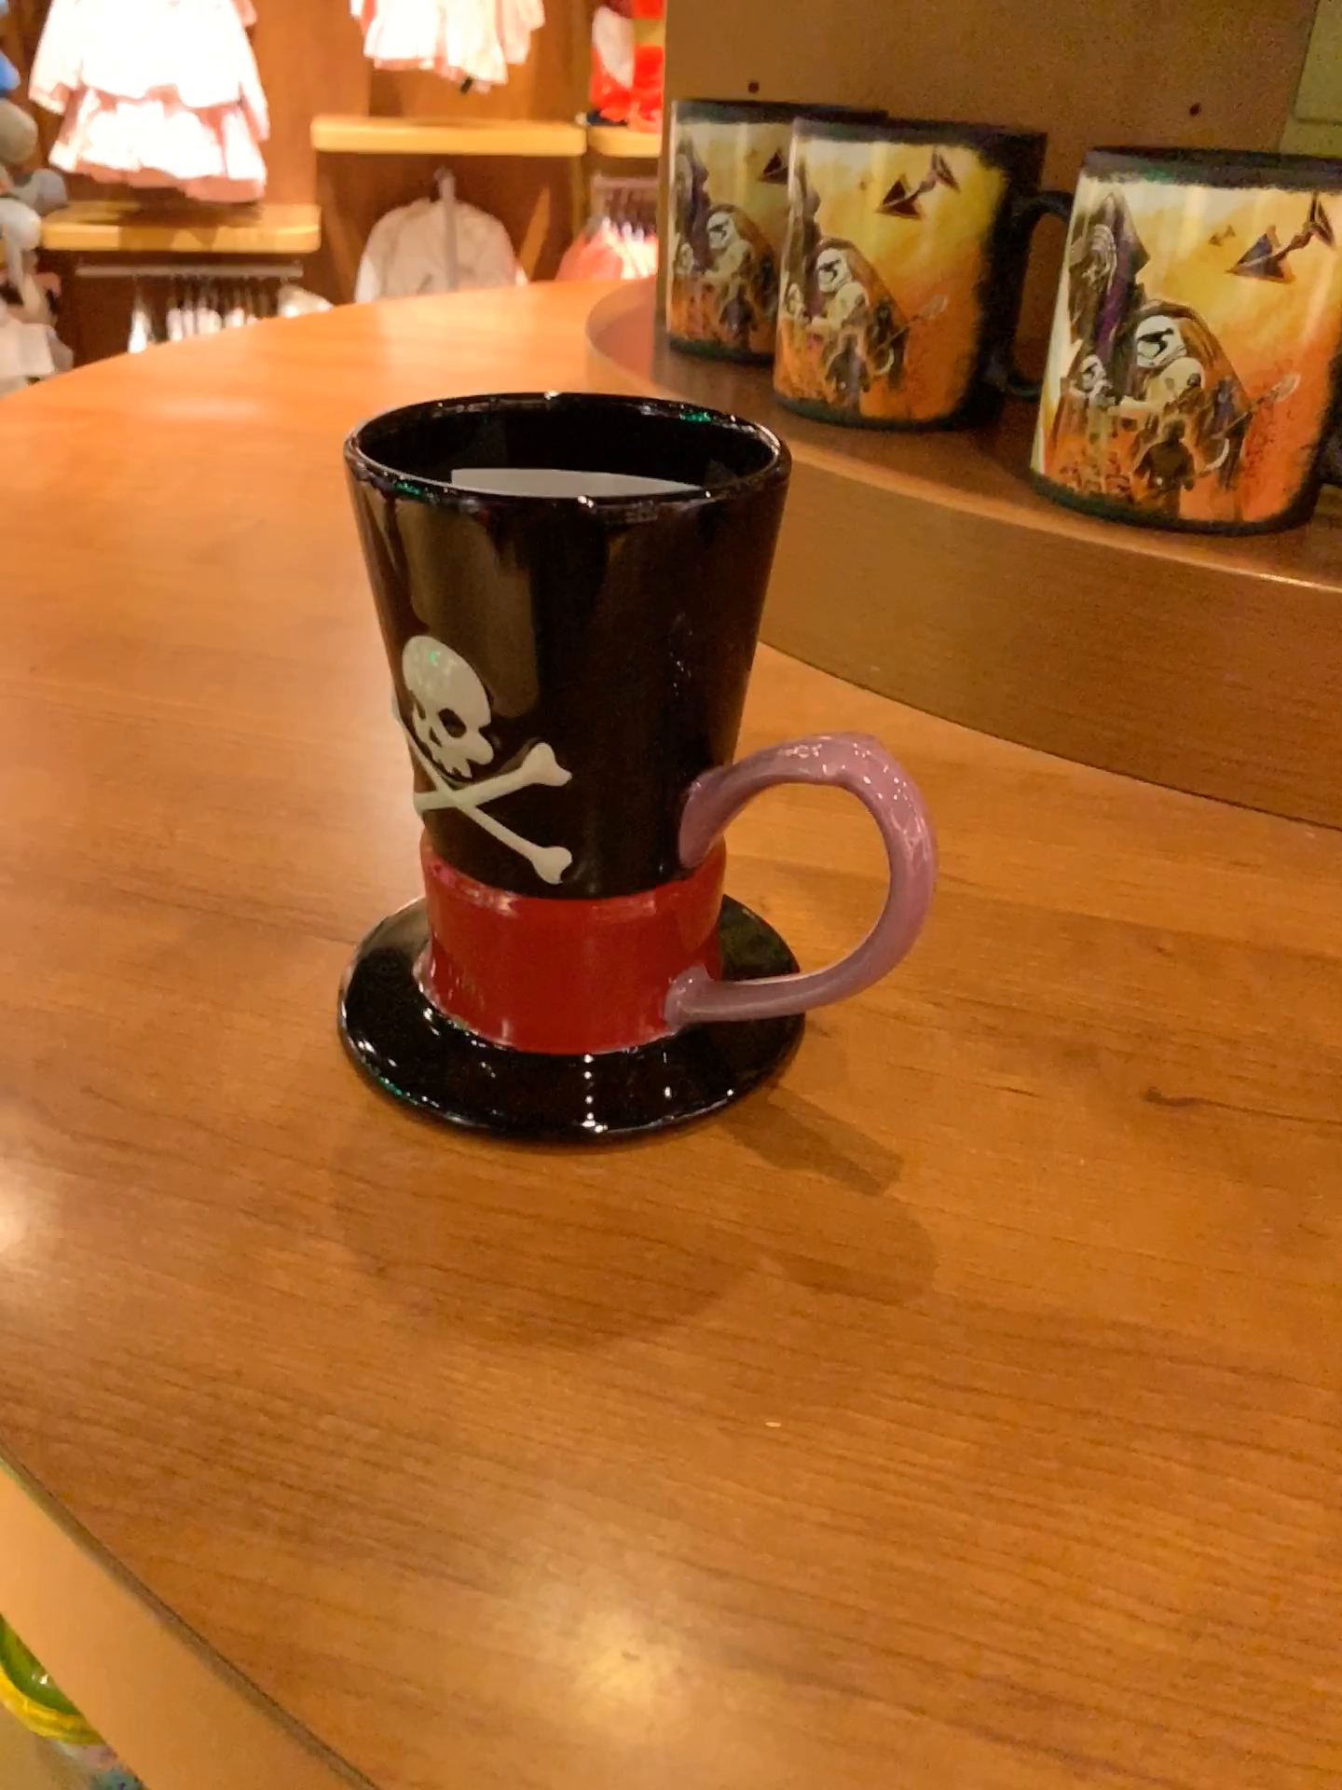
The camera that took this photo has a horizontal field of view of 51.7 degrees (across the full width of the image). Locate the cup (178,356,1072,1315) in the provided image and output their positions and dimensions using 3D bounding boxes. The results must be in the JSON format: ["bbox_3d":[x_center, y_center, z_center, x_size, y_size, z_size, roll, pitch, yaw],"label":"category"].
[{"bbox_3d":[-0.010,-0.025,0.305,0.134,0.144,0.110,24,38,31],"label":"cup"}]
